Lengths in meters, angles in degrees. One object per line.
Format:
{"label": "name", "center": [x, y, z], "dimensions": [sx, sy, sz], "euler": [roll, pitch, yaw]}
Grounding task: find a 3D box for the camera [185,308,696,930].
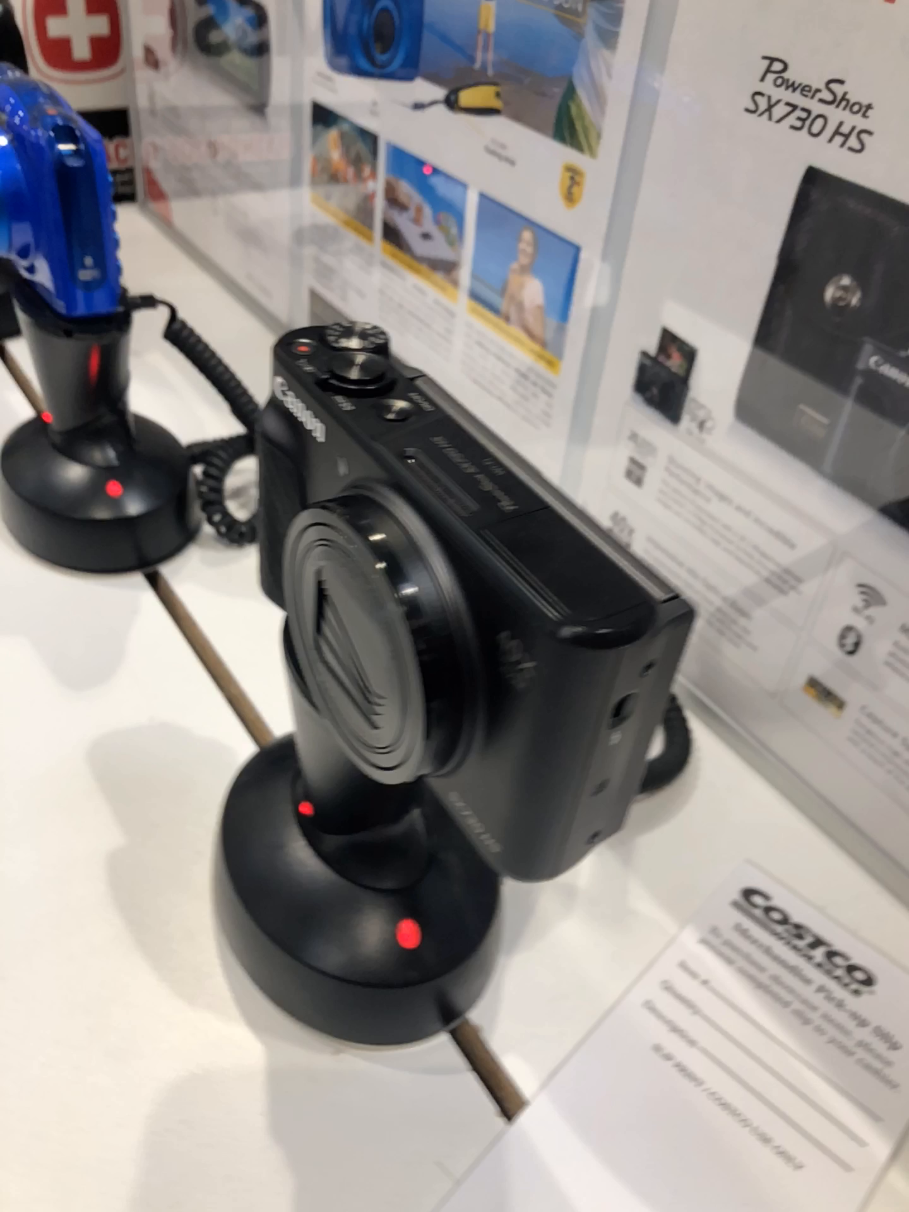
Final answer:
{"label": "camera", "center": [-0.012, -0.005, 0.198], "dimensions": [0.040, 0.060, 0.111], "euler": [-17, 45, -27]}
